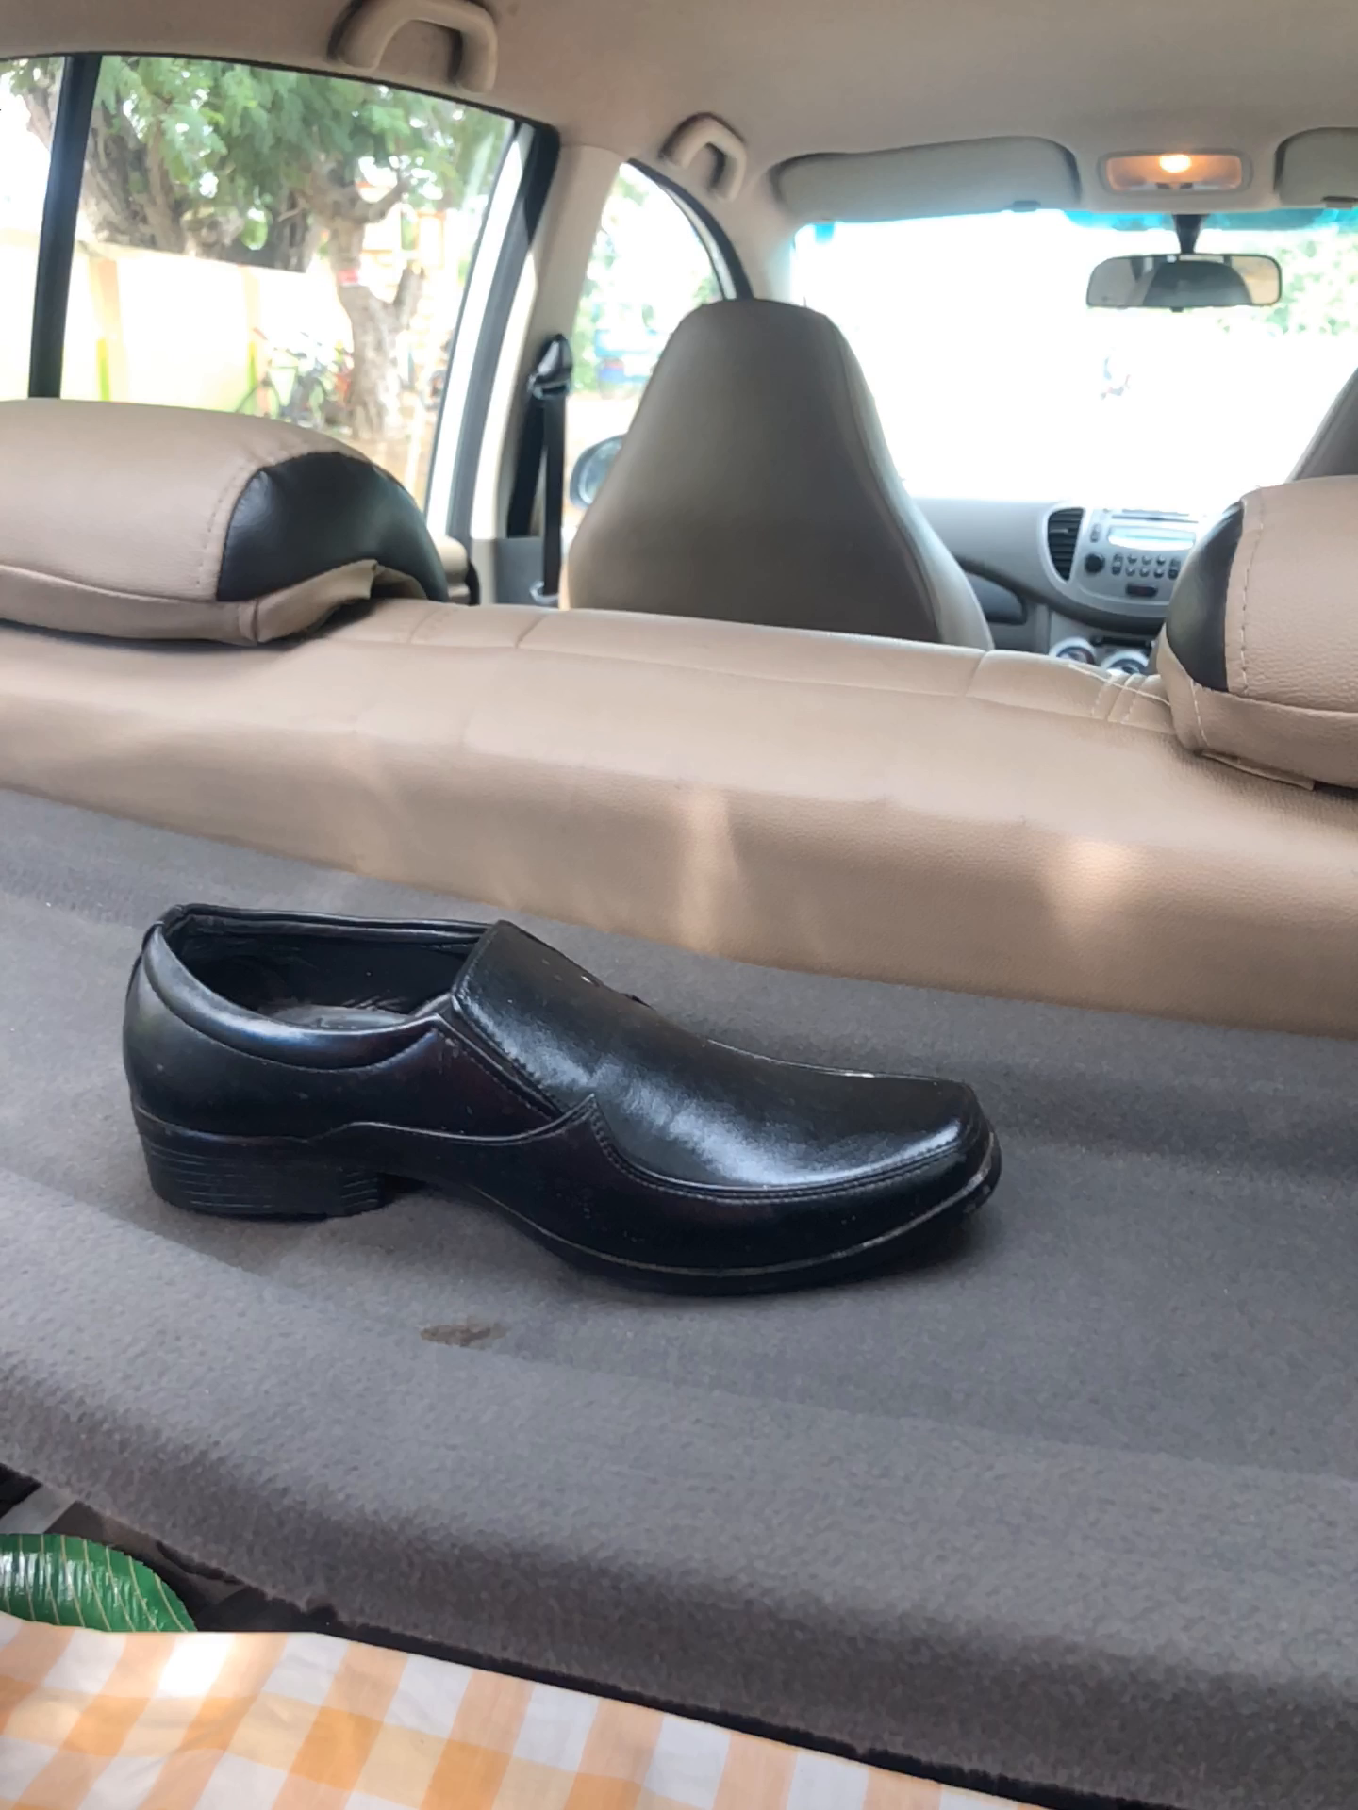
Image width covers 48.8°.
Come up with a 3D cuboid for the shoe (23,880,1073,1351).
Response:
[{"bbox_3d":[-0.037,0.059,0.477,0.300,0.080,0.100,5,20,8],"label":"shoe"}]
